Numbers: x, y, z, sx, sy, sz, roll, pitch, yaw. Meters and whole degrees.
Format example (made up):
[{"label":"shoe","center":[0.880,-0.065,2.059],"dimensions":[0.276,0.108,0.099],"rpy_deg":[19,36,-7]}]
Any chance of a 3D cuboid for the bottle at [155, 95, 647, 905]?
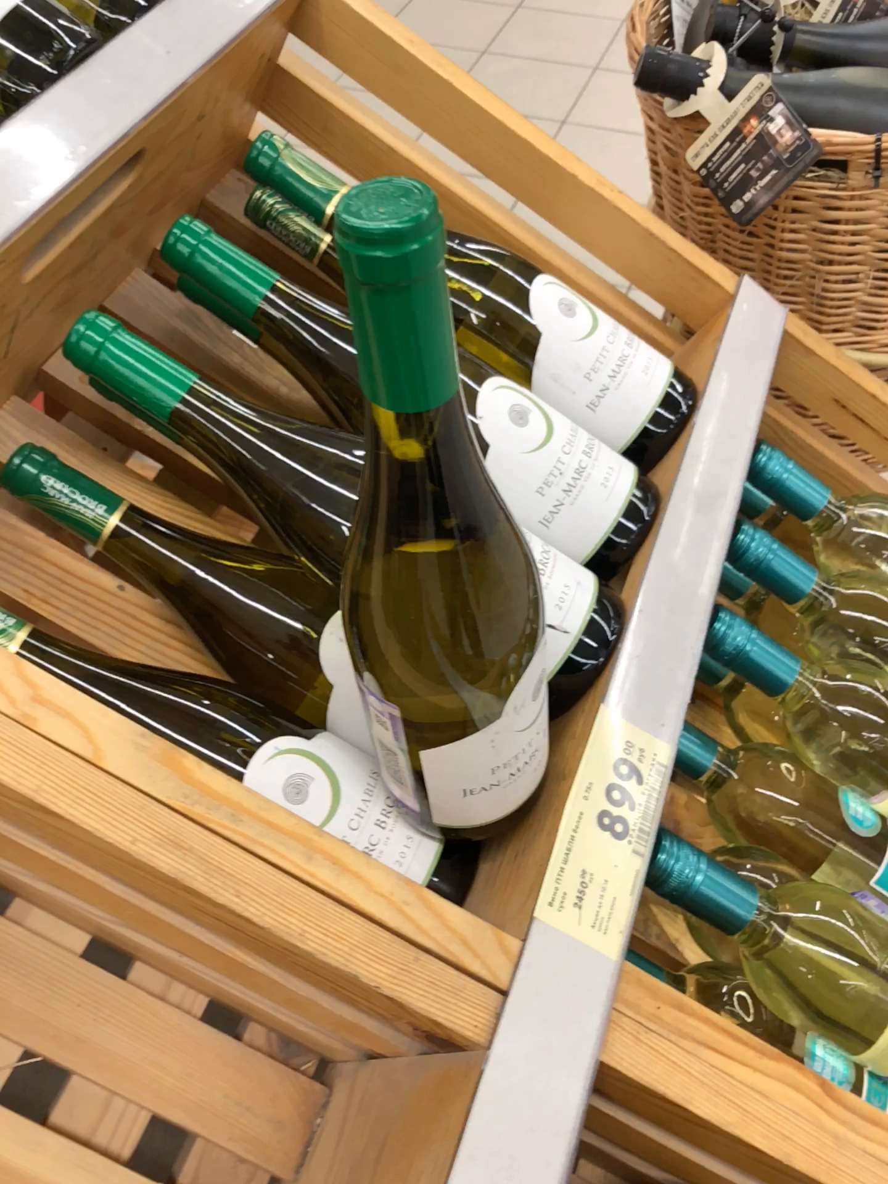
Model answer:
[{"label":"bottle","center":[0.001,-0.004,0.350],"dimensions":[0.090,0.289,0.090],"rpy_deg":[-2,50,3]}]
